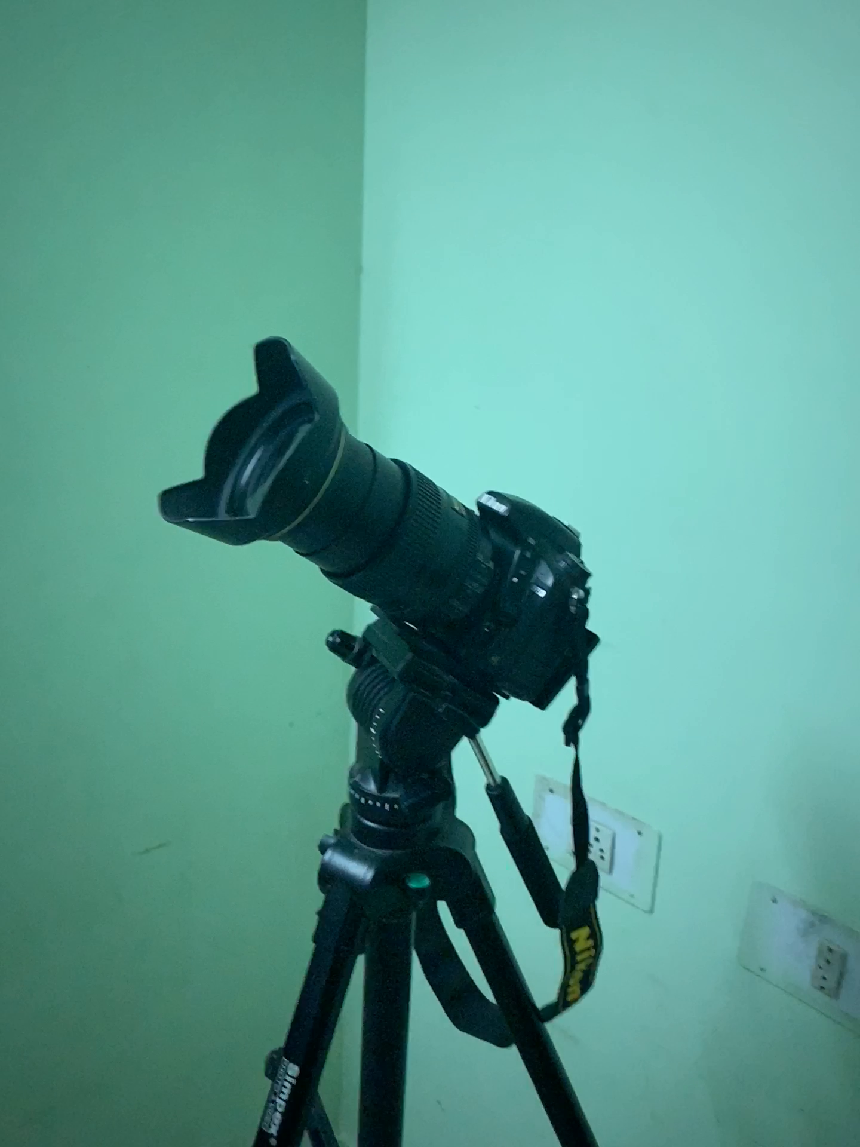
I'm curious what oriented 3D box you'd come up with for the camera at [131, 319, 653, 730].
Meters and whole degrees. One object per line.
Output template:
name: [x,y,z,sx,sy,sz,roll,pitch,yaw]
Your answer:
camera: [-0.023,-0.028,0.530,0.248,0.120,0.152,28,3,-32]
